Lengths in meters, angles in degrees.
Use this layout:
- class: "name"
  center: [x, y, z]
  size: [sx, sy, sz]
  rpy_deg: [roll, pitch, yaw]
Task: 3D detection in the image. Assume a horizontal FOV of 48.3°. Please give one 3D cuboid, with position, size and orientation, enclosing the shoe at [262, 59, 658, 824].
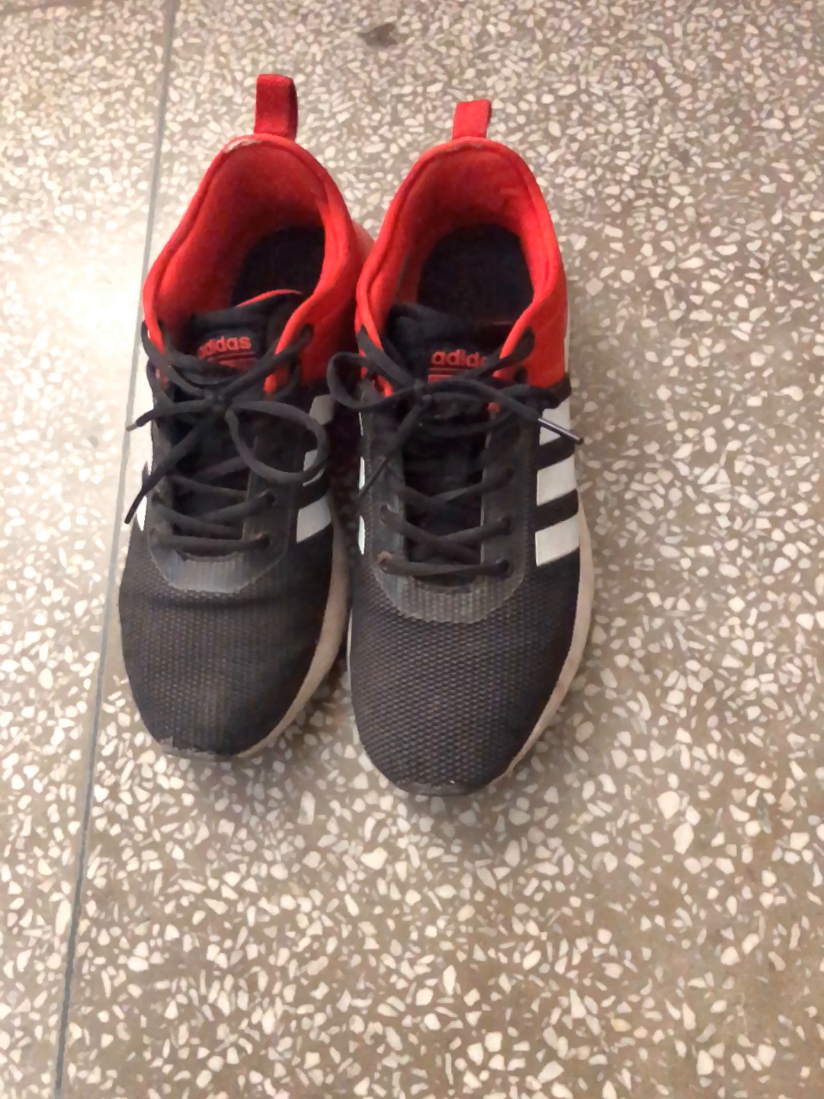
- class: "shoe"
  center: [0.038, -0.048, 0.433]
  size: [0.130, 0.140, 0.320]
  rpy_deg: [3, 71, 10]

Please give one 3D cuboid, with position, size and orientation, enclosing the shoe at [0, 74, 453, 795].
- class: "shoe"
  center: [-0.069, -0.053, 0.447]
  size: [0.130, 0.140, 0.310]
  rpy_deg: [4, 71, 10]
